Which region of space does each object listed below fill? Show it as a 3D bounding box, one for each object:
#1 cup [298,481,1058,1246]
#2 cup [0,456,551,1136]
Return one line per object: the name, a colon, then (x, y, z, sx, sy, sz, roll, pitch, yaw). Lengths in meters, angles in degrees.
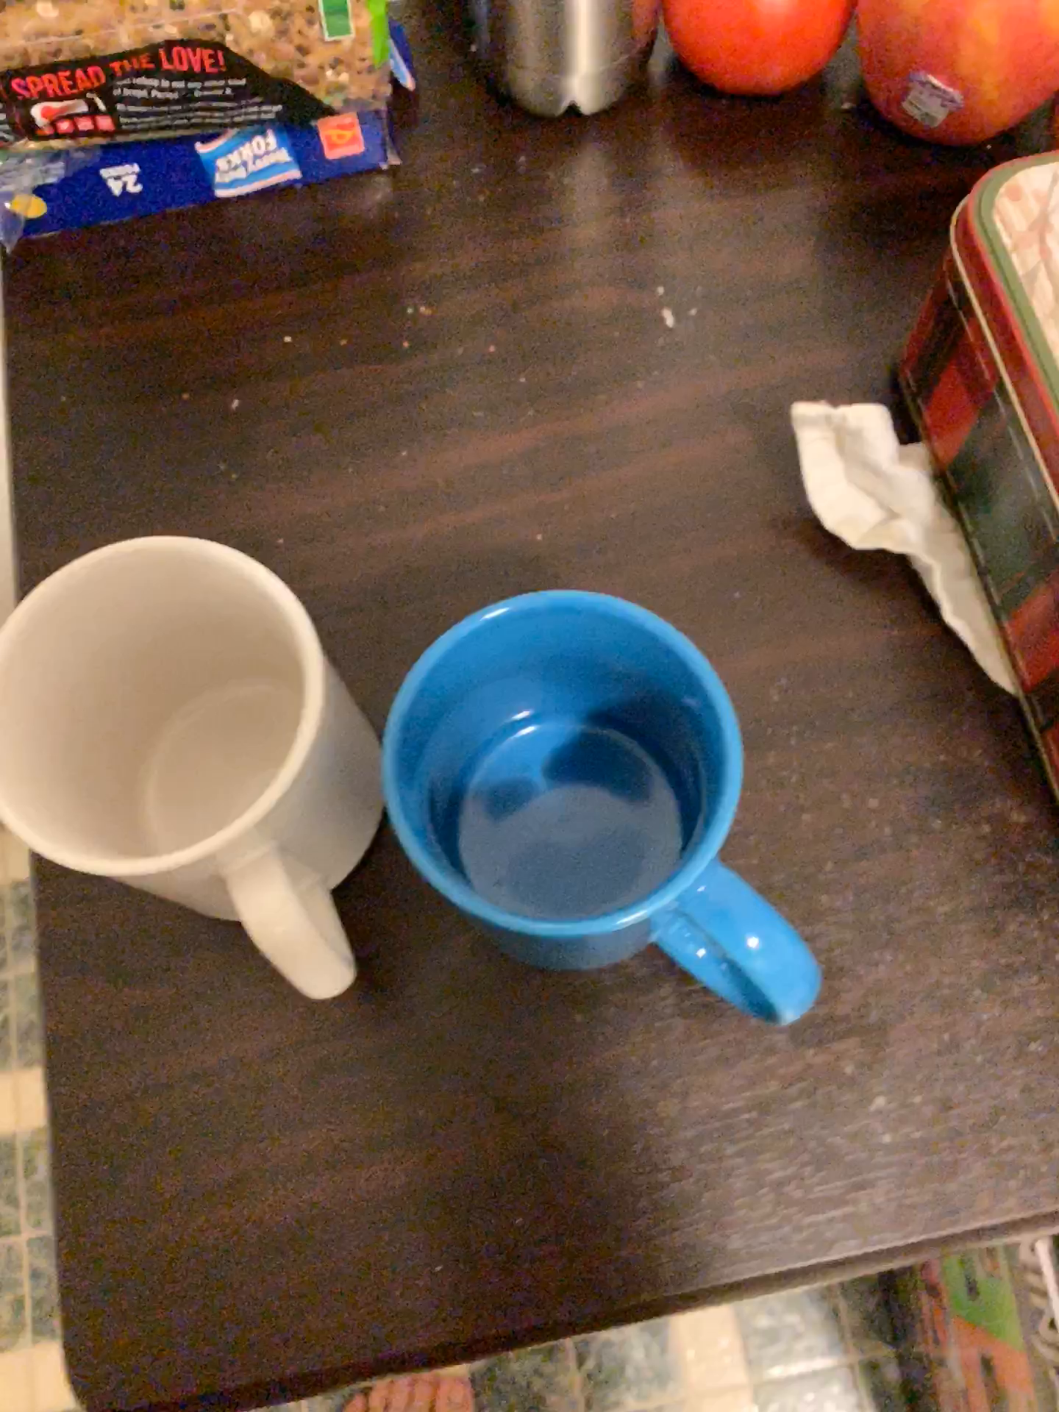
cup: (0.033, 0.040, 0.280, 0.090, 0.100, 0.140, -44, 75, -11)
cup: (-0.073, 0.028, 0.294, 0.090, 0.100, 0.130, -42, 75, -10)
